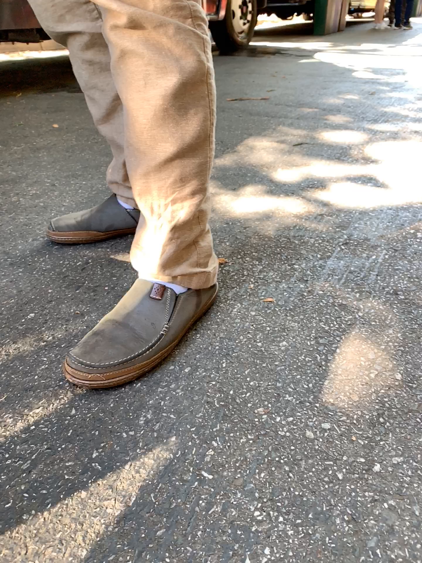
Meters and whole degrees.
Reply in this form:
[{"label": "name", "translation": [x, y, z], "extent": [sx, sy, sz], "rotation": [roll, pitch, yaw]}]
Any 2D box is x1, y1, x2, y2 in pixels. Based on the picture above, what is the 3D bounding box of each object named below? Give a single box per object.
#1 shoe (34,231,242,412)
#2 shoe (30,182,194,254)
[{"label": "shoe", "translation": [-0.083, 0.034, 0.645], "extent": [0.120, 0.080, 0.321], "rotation": [16, 36, 28]}, {"label": "shoe", "translation": [-0.207, -0.141, 0.925], "extent": [0.320, 0.060, 0.121], "rotation": [-12, 32, -13]}]
